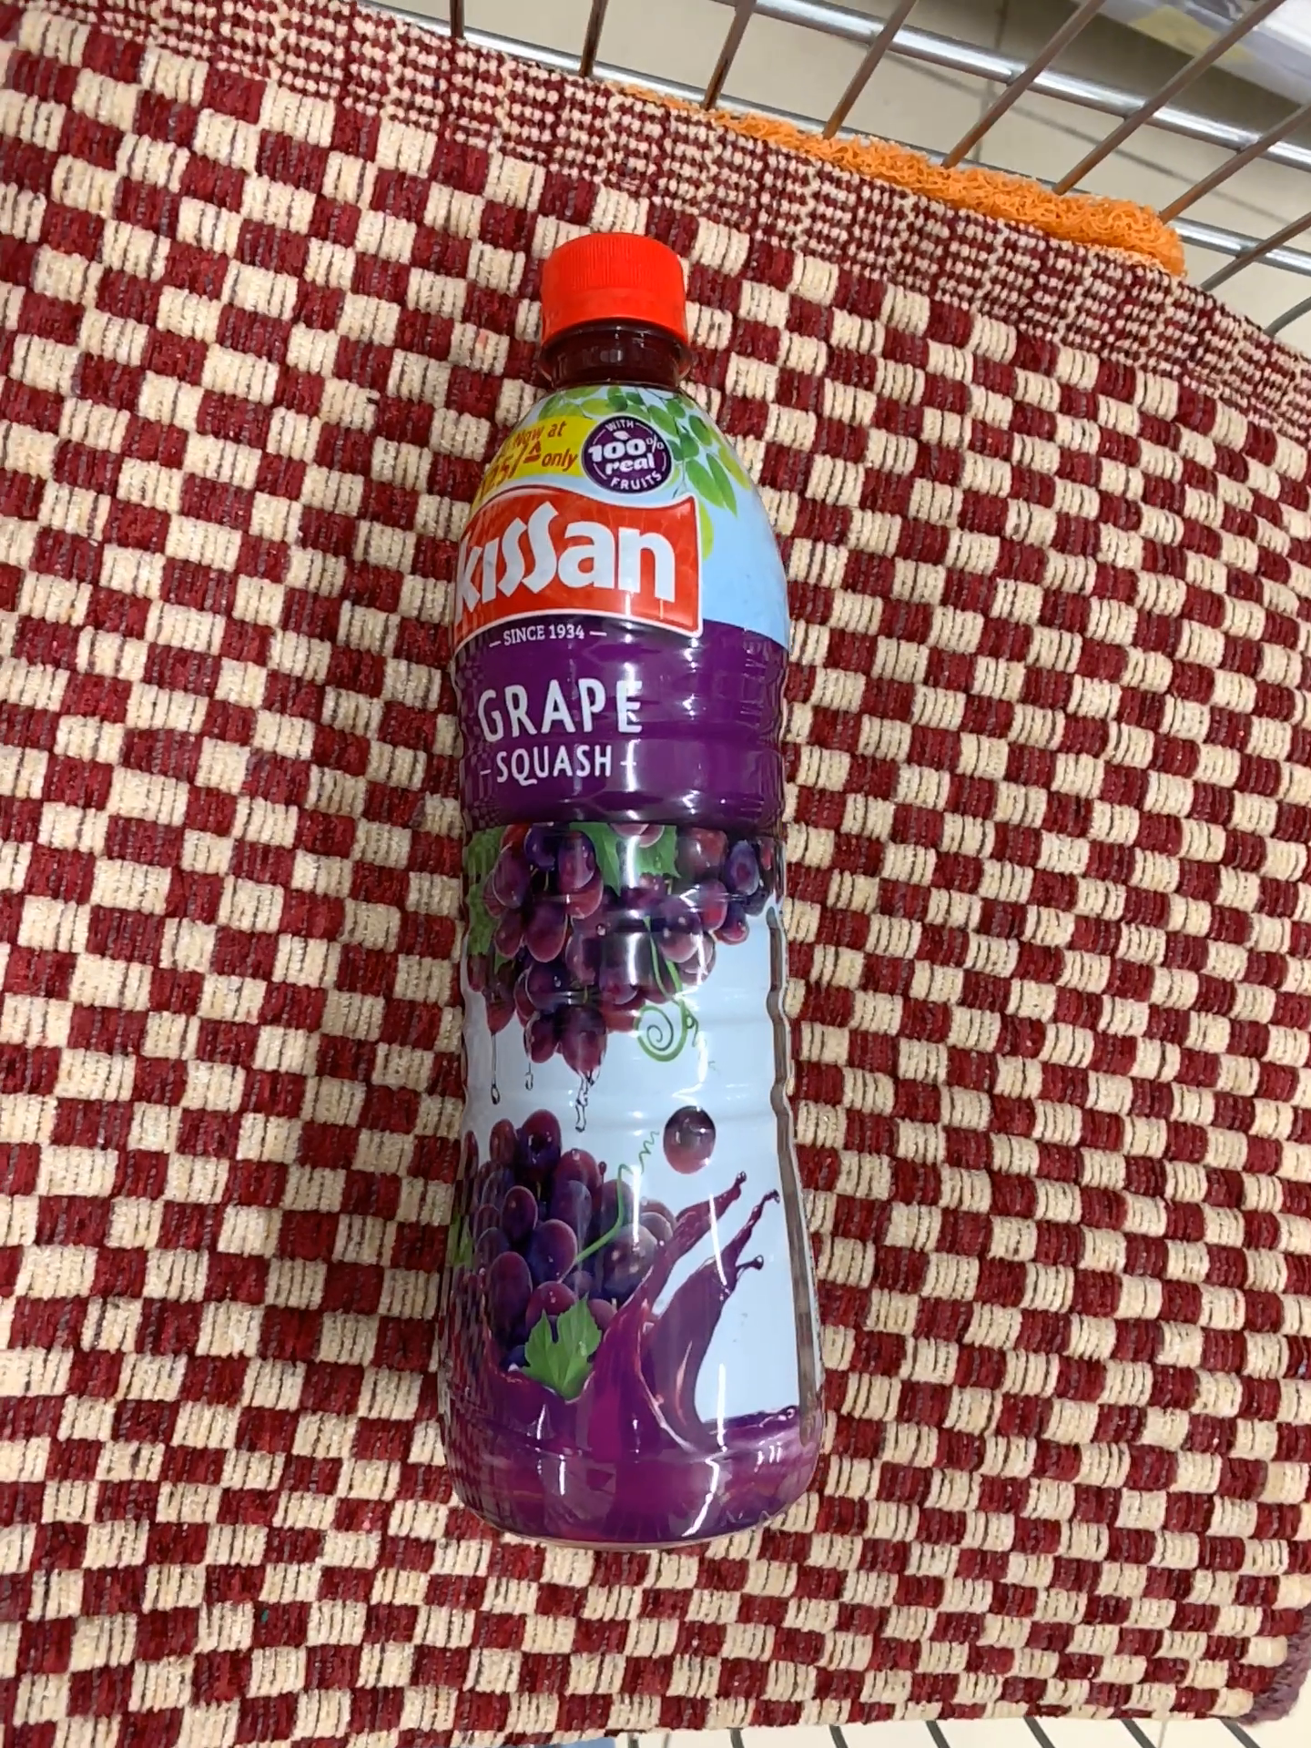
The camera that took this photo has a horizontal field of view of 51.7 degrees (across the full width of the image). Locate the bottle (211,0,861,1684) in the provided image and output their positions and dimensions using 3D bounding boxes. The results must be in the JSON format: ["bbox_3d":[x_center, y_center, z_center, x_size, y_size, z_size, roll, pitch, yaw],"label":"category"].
[{"bbox_3d":[-0.016,-0.008,0.241,0.080,0.080,0.240,6,84,-62],"label":"bottle"}]
